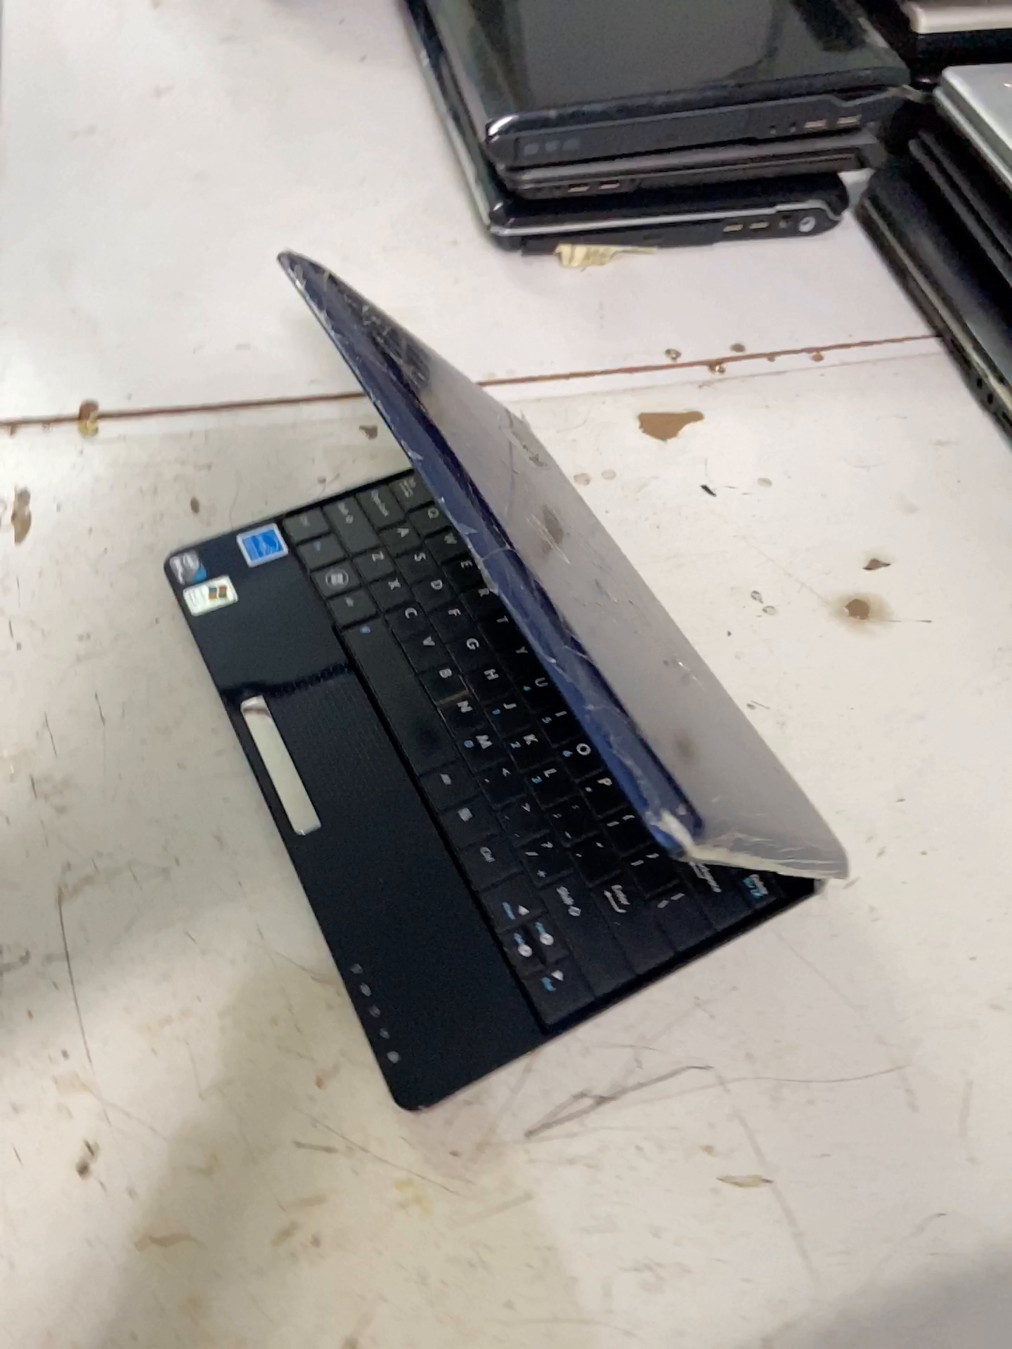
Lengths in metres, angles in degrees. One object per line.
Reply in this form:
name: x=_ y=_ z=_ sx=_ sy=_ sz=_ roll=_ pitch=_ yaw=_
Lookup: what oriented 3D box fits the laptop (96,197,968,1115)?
laptop: x=-0.014 y=-0.021 z=0.375 sx=0.169 sy=0.121 sz=0.259 roll=-23 pitch=61 yaw=-16
